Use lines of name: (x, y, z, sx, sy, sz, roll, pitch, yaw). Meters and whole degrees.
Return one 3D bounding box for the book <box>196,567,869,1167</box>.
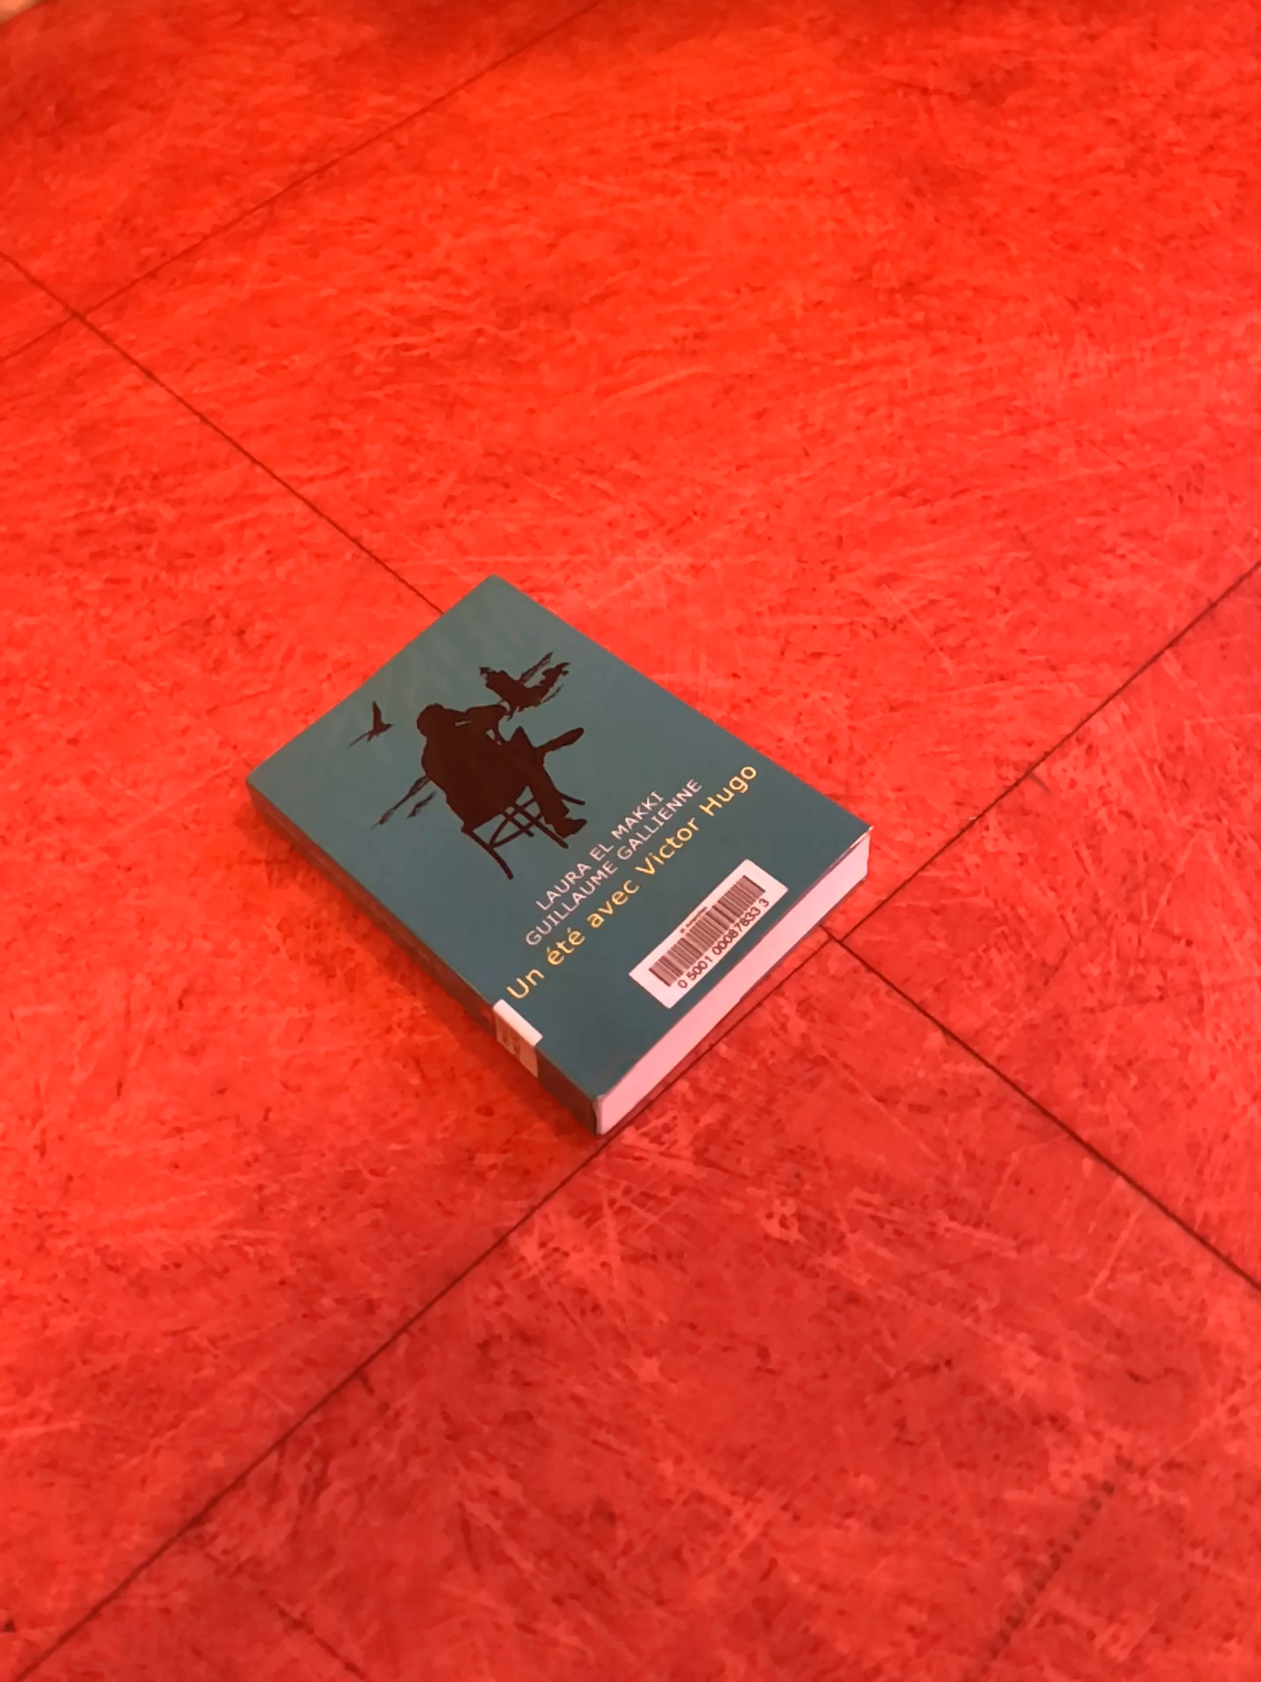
book: (-0.033, -0.004, 0.399, 0.110, 0.020, 0.170, -42, 56, -16)
